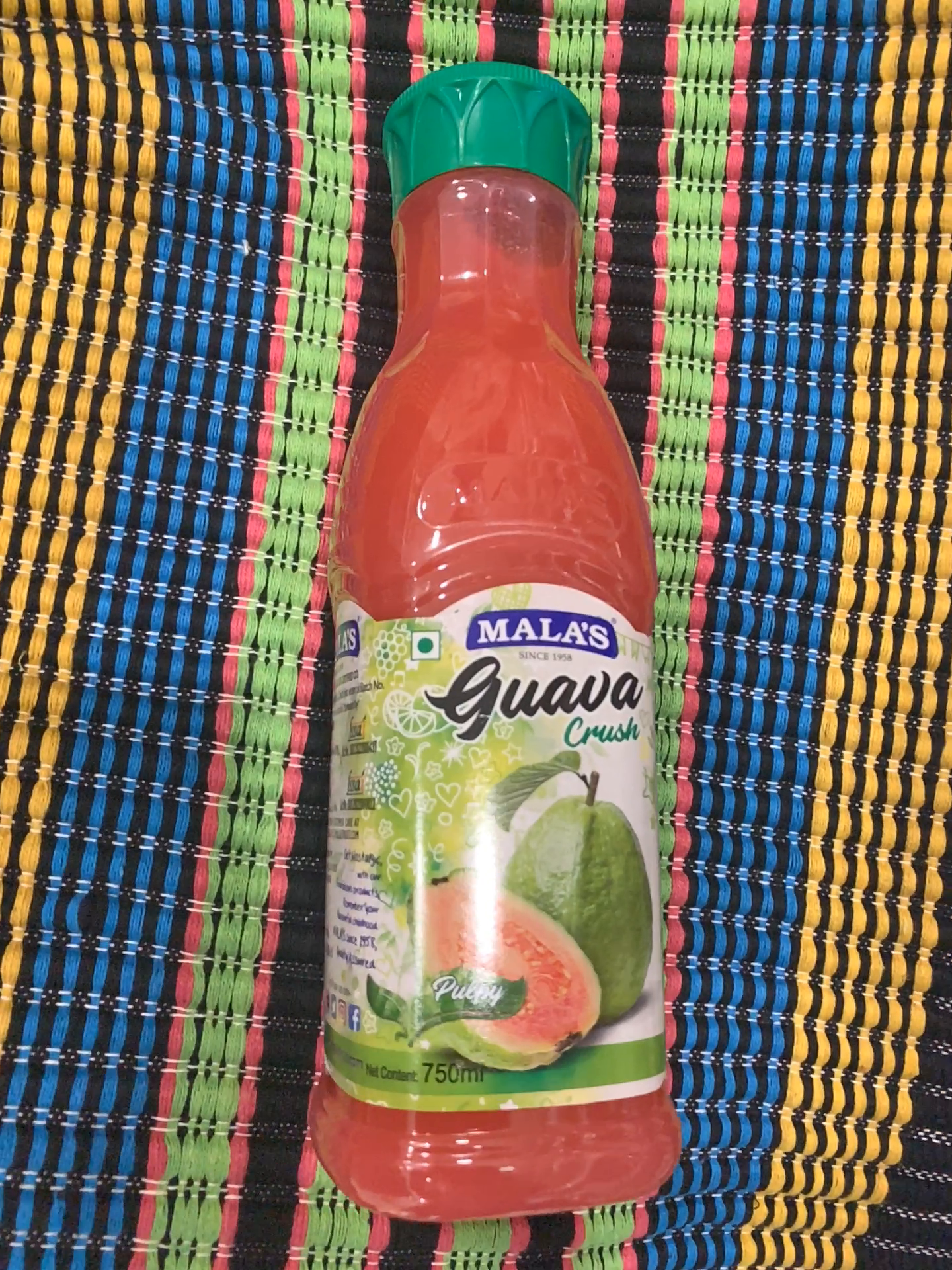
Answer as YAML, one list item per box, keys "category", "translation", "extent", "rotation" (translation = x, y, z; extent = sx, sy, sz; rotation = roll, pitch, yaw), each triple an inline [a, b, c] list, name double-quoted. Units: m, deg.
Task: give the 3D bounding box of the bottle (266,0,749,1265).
- category: "bottle"
  translation: [-0.005, -0.018, 0.231]
  extent: [0.080, 0.080, 0.260]
  rotation: [1, 77, -15]
